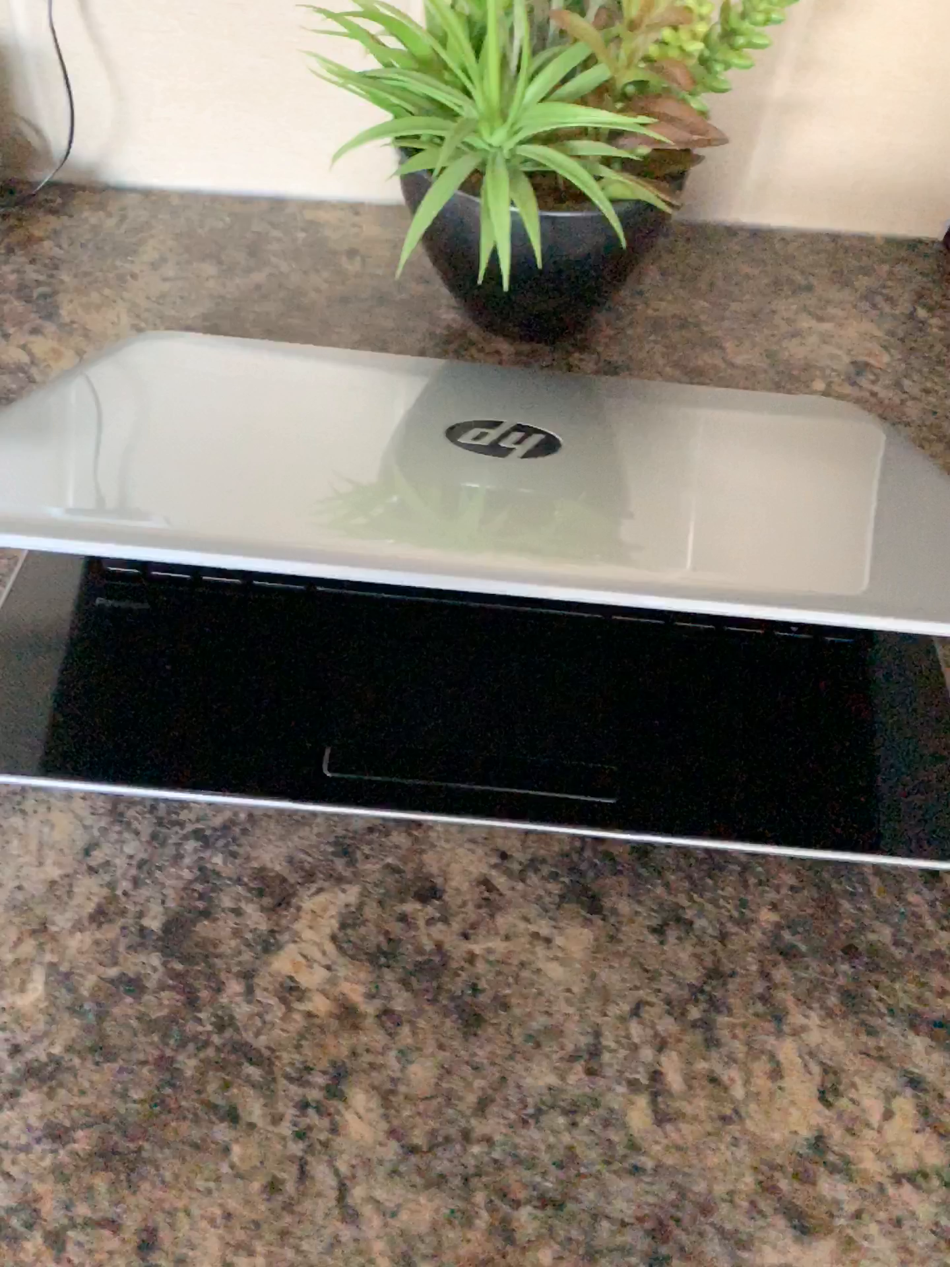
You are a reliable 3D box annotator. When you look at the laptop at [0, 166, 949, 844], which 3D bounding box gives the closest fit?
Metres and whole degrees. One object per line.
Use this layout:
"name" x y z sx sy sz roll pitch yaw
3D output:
"laptop" 0.006 -0.054 0.339 0.328 0.081 0.207 5 52 -1
